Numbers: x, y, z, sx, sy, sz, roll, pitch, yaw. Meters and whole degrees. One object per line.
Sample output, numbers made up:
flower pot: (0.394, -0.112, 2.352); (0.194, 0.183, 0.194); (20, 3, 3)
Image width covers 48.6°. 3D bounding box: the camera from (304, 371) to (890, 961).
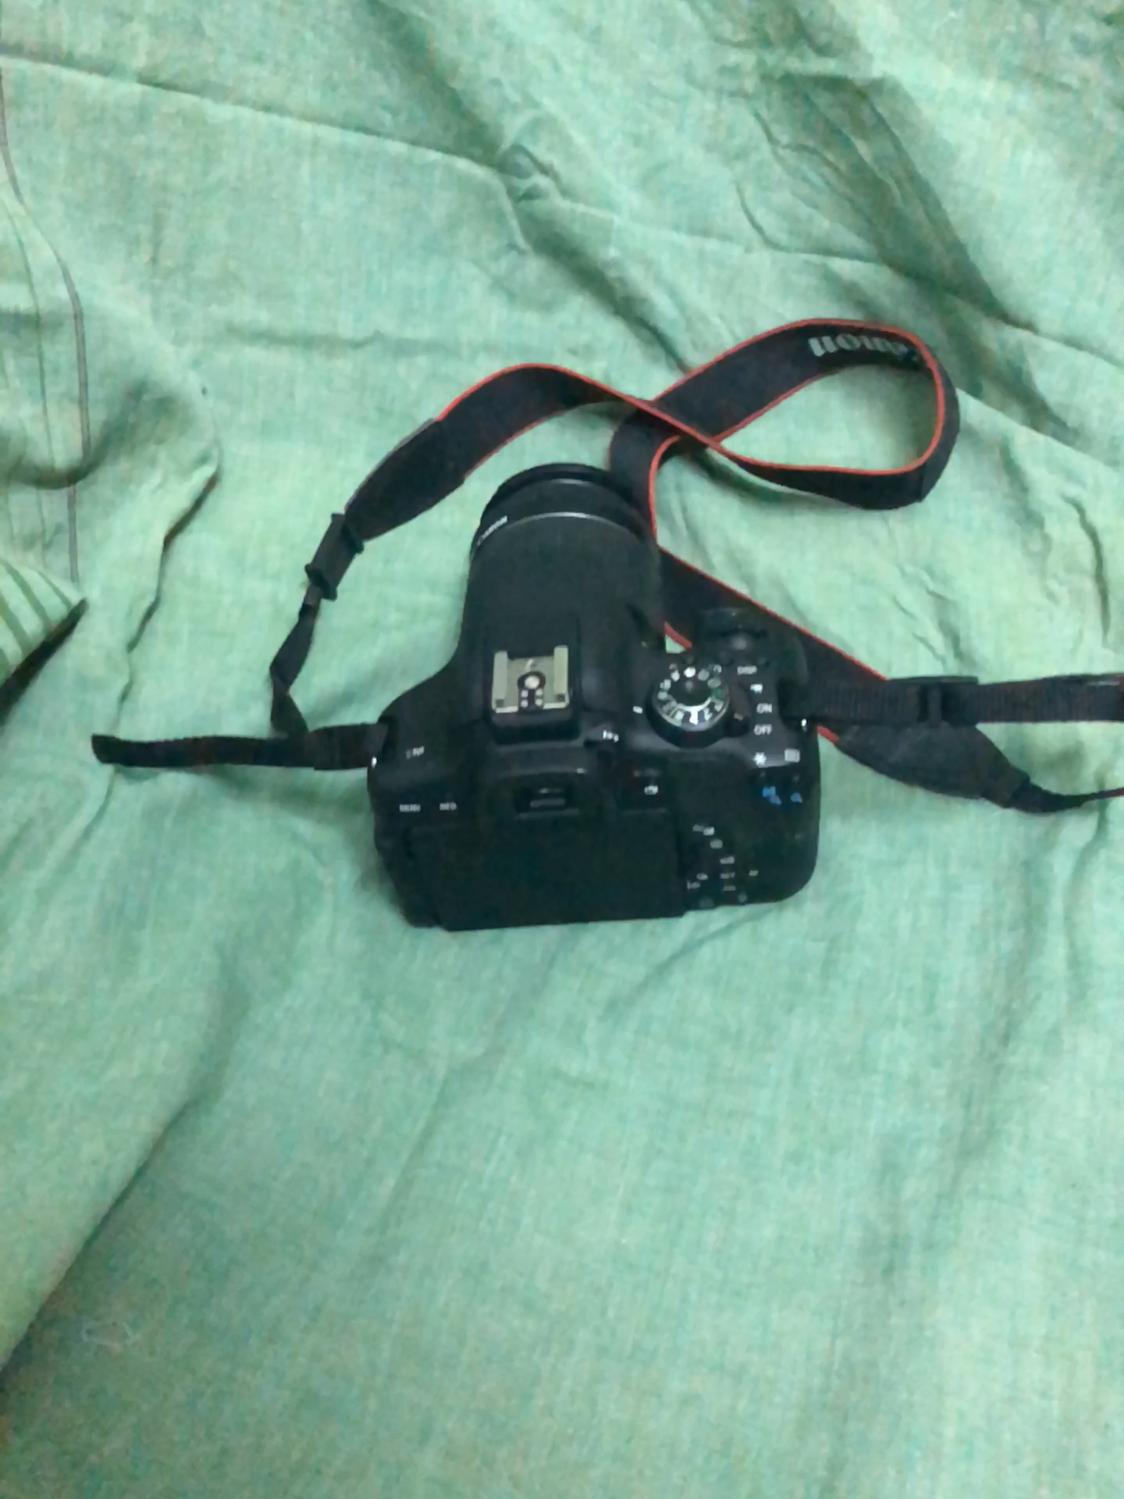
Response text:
camera: (0.010, -0.026, 0.384); (0.142, 0.100, 0.144); (-3, 54, 2)
